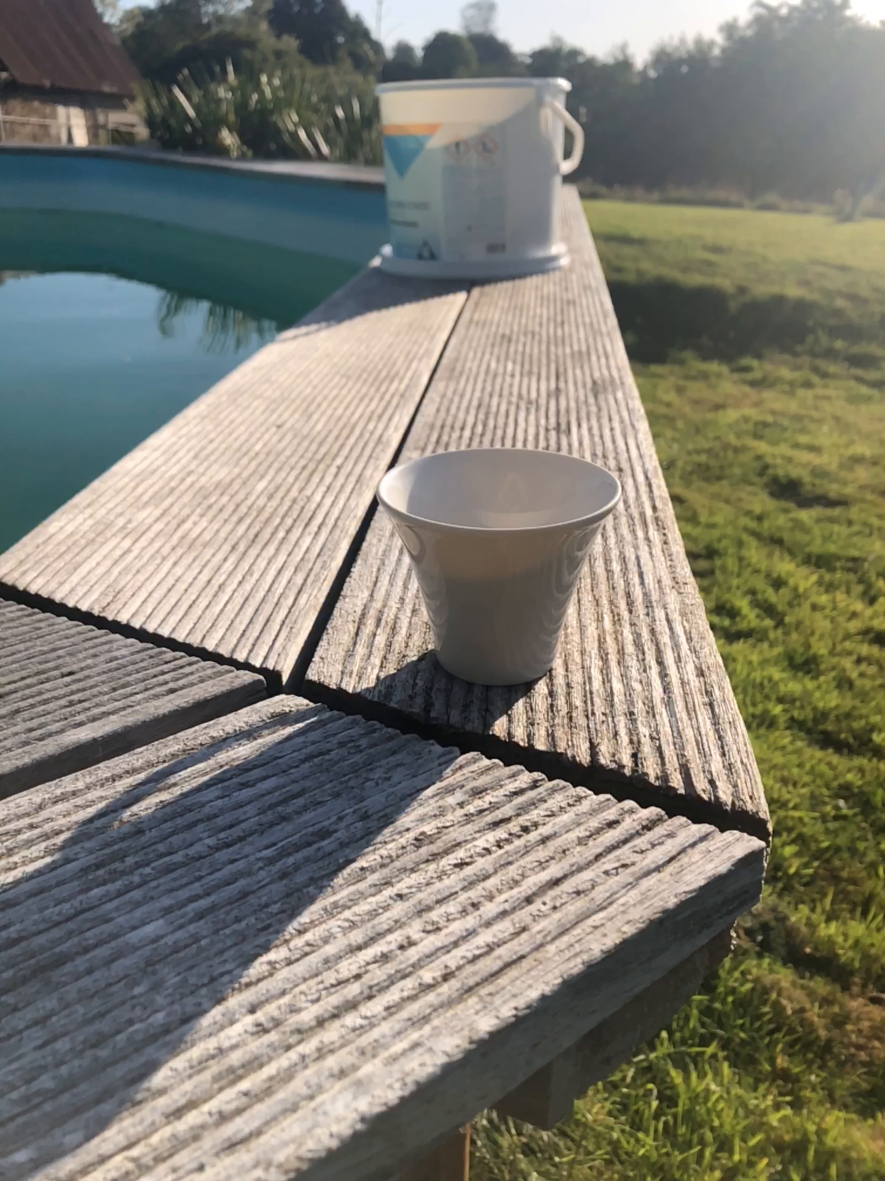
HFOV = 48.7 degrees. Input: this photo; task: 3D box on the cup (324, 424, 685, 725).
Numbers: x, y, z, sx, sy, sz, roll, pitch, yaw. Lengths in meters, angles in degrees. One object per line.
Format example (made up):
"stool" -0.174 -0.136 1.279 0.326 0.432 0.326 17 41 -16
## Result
"cup" 0.015 -0.012 0.321 0.076 0.053 0.097 -11 28 -24
